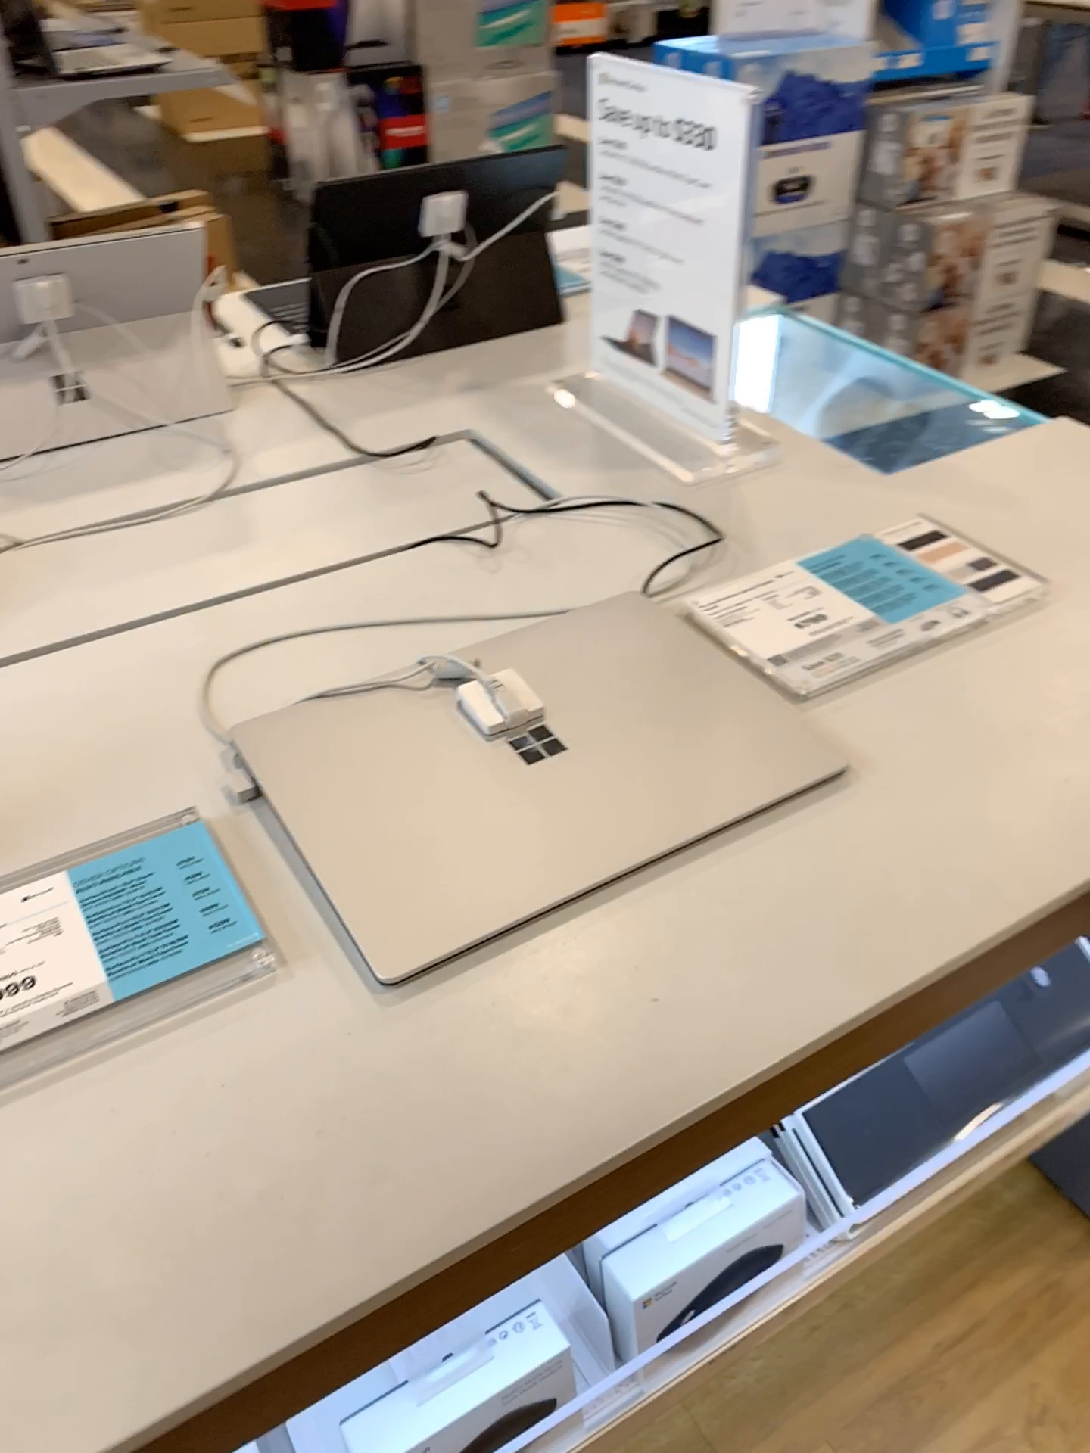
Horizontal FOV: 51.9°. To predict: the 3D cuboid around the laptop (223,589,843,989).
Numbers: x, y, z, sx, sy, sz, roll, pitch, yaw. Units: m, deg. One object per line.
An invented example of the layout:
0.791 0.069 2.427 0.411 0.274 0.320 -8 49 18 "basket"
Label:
-0.009 0.013 0.665 0.297 0.008 0.221 -21 44 -26 "laptop"
